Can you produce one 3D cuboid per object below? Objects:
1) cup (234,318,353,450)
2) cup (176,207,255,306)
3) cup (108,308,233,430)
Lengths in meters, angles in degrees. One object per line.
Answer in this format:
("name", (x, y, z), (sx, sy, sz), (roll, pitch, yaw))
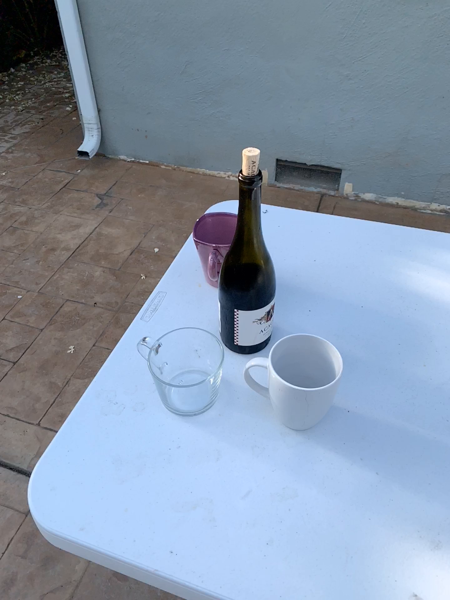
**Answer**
("cup", (0.088, 0.111, 0.612), (0.130, 0.119, 0.090), (12, 44, 14))
("cup", (-0.012, -0.078, 0.799), (0.100, 0.099, 0.131), (10, 43, 12))
("cup", (-0.069, 0.091, 0.631), (0.130, 0.080, 0.100), (19, 46, 20))
